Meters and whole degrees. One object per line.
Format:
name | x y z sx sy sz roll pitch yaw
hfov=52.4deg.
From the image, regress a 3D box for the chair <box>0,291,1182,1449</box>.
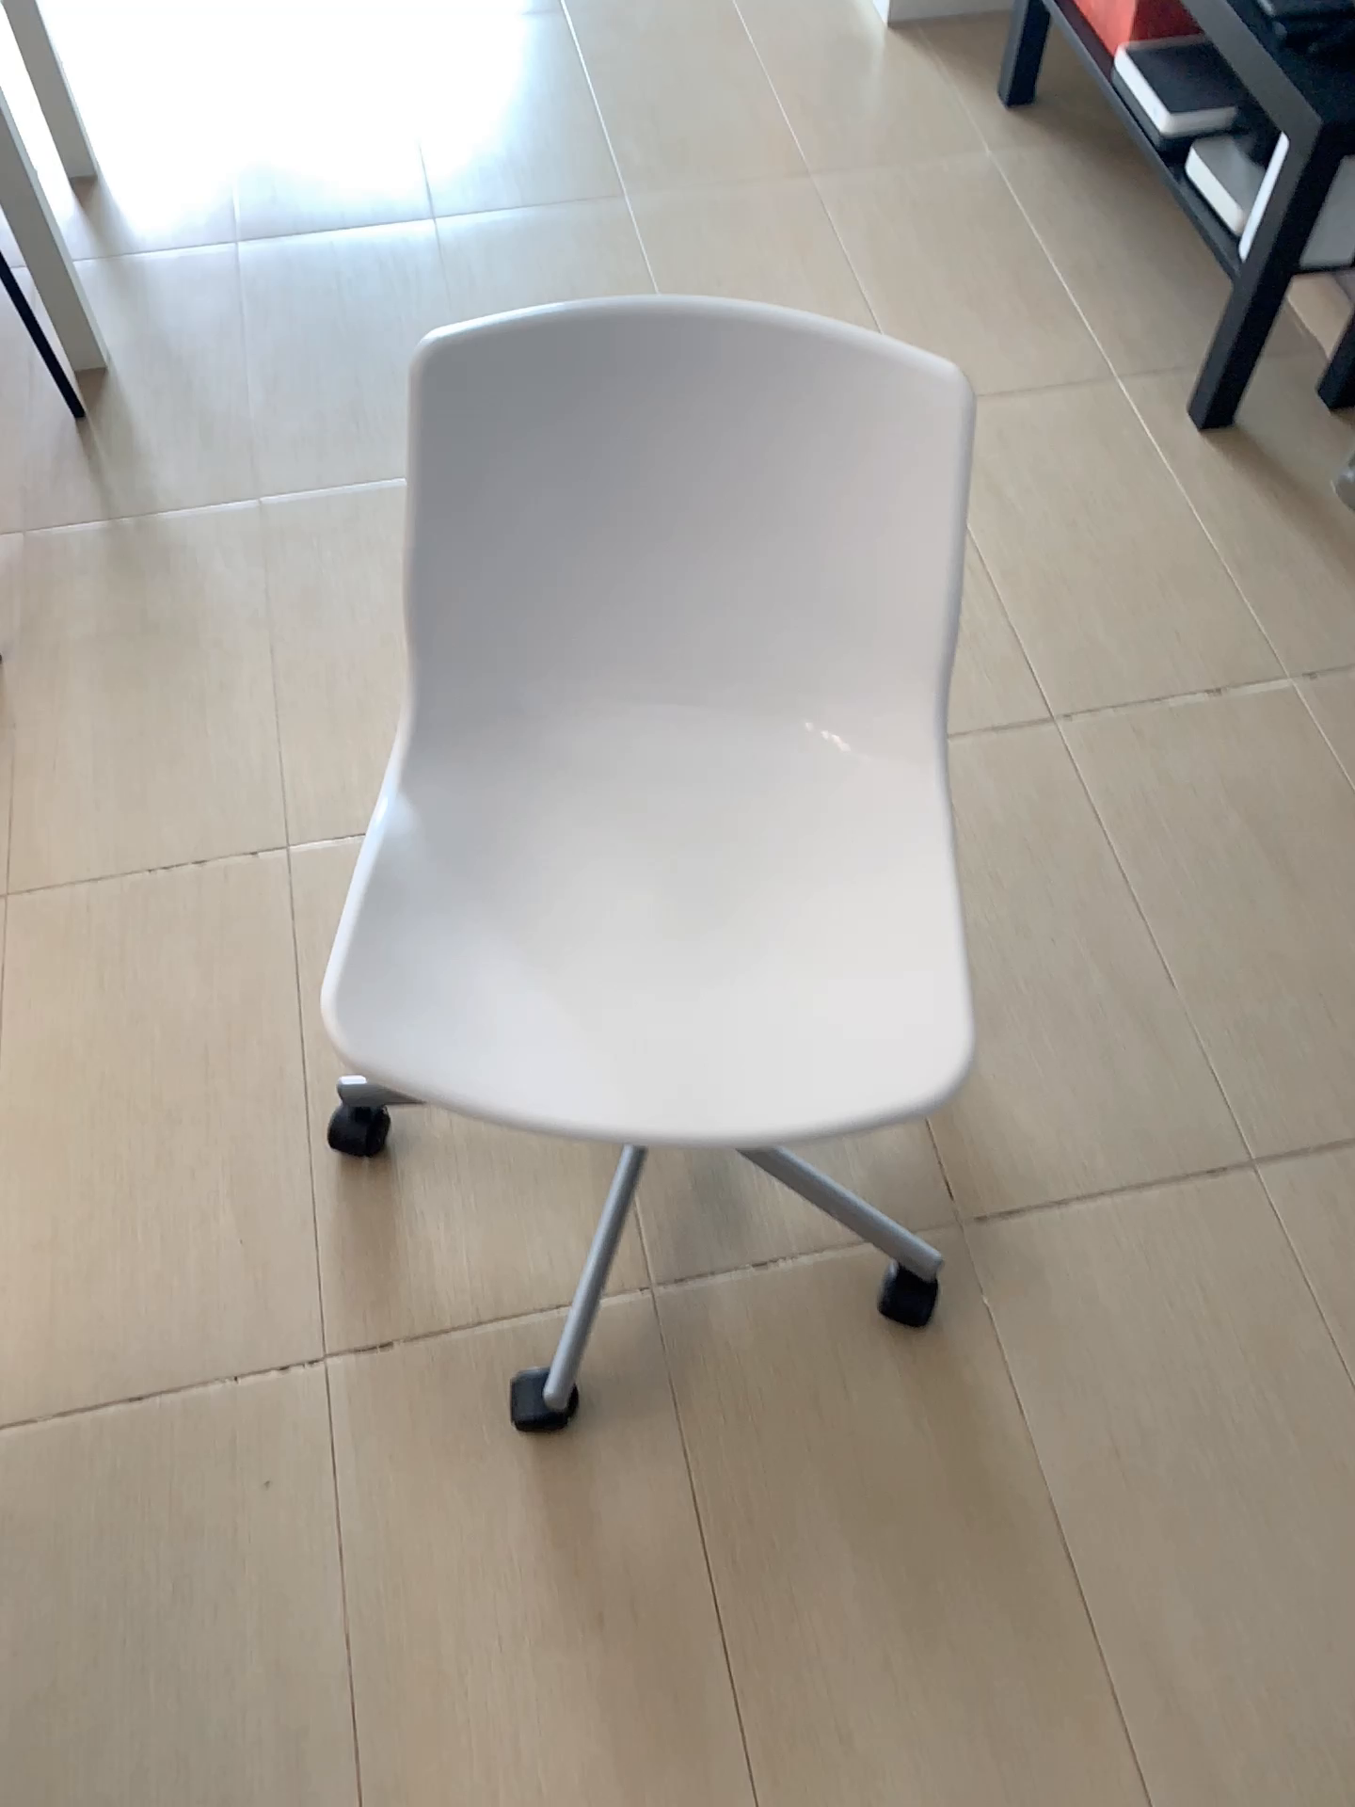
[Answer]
chair | -0.046 0.001 1.213 0.641 0.647 0.782 1 59 0
